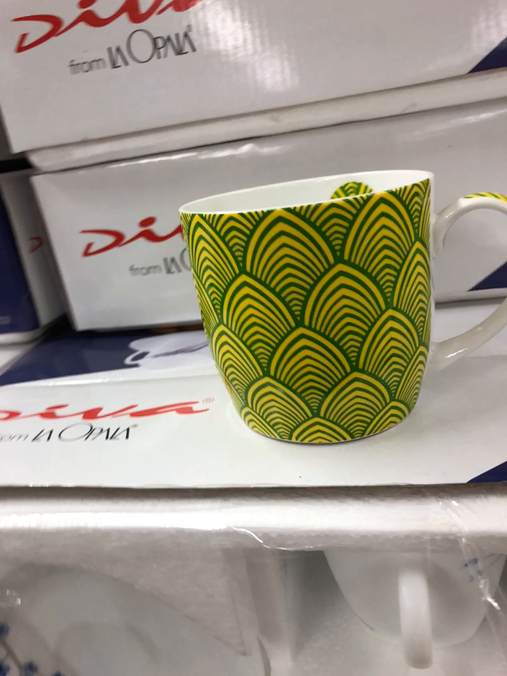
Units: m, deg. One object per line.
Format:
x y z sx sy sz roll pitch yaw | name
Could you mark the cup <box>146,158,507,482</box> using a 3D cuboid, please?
0.040 -0.012 0.205 0.120 0.080 0.091 -6 19 9 | cup
